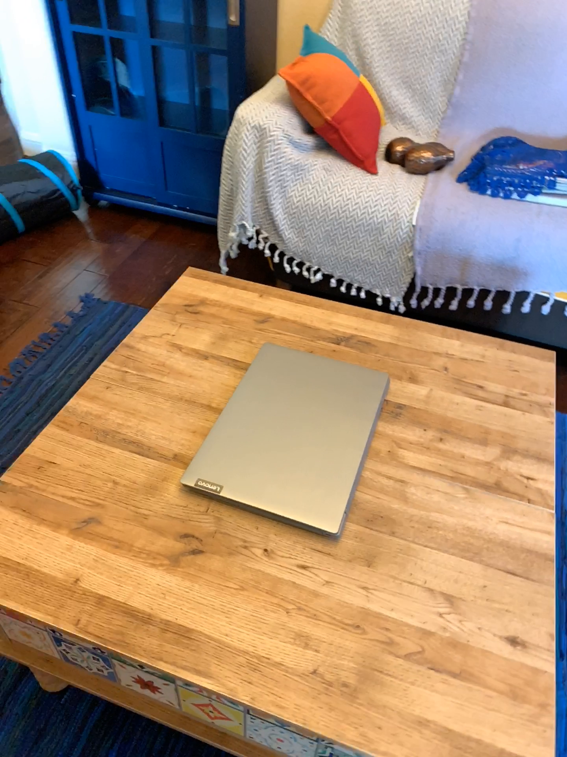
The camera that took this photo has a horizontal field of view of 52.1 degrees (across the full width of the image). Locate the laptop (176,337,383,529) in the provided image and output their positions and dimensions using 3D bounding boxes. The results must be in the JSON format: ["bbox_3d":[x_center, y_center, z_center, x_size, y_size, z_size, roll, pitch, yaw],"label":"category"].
[{"bbox_3d":[0.011,0.066,0.958,0.237,0.011,0.348,16,43,11],"label":"laptop"}]
